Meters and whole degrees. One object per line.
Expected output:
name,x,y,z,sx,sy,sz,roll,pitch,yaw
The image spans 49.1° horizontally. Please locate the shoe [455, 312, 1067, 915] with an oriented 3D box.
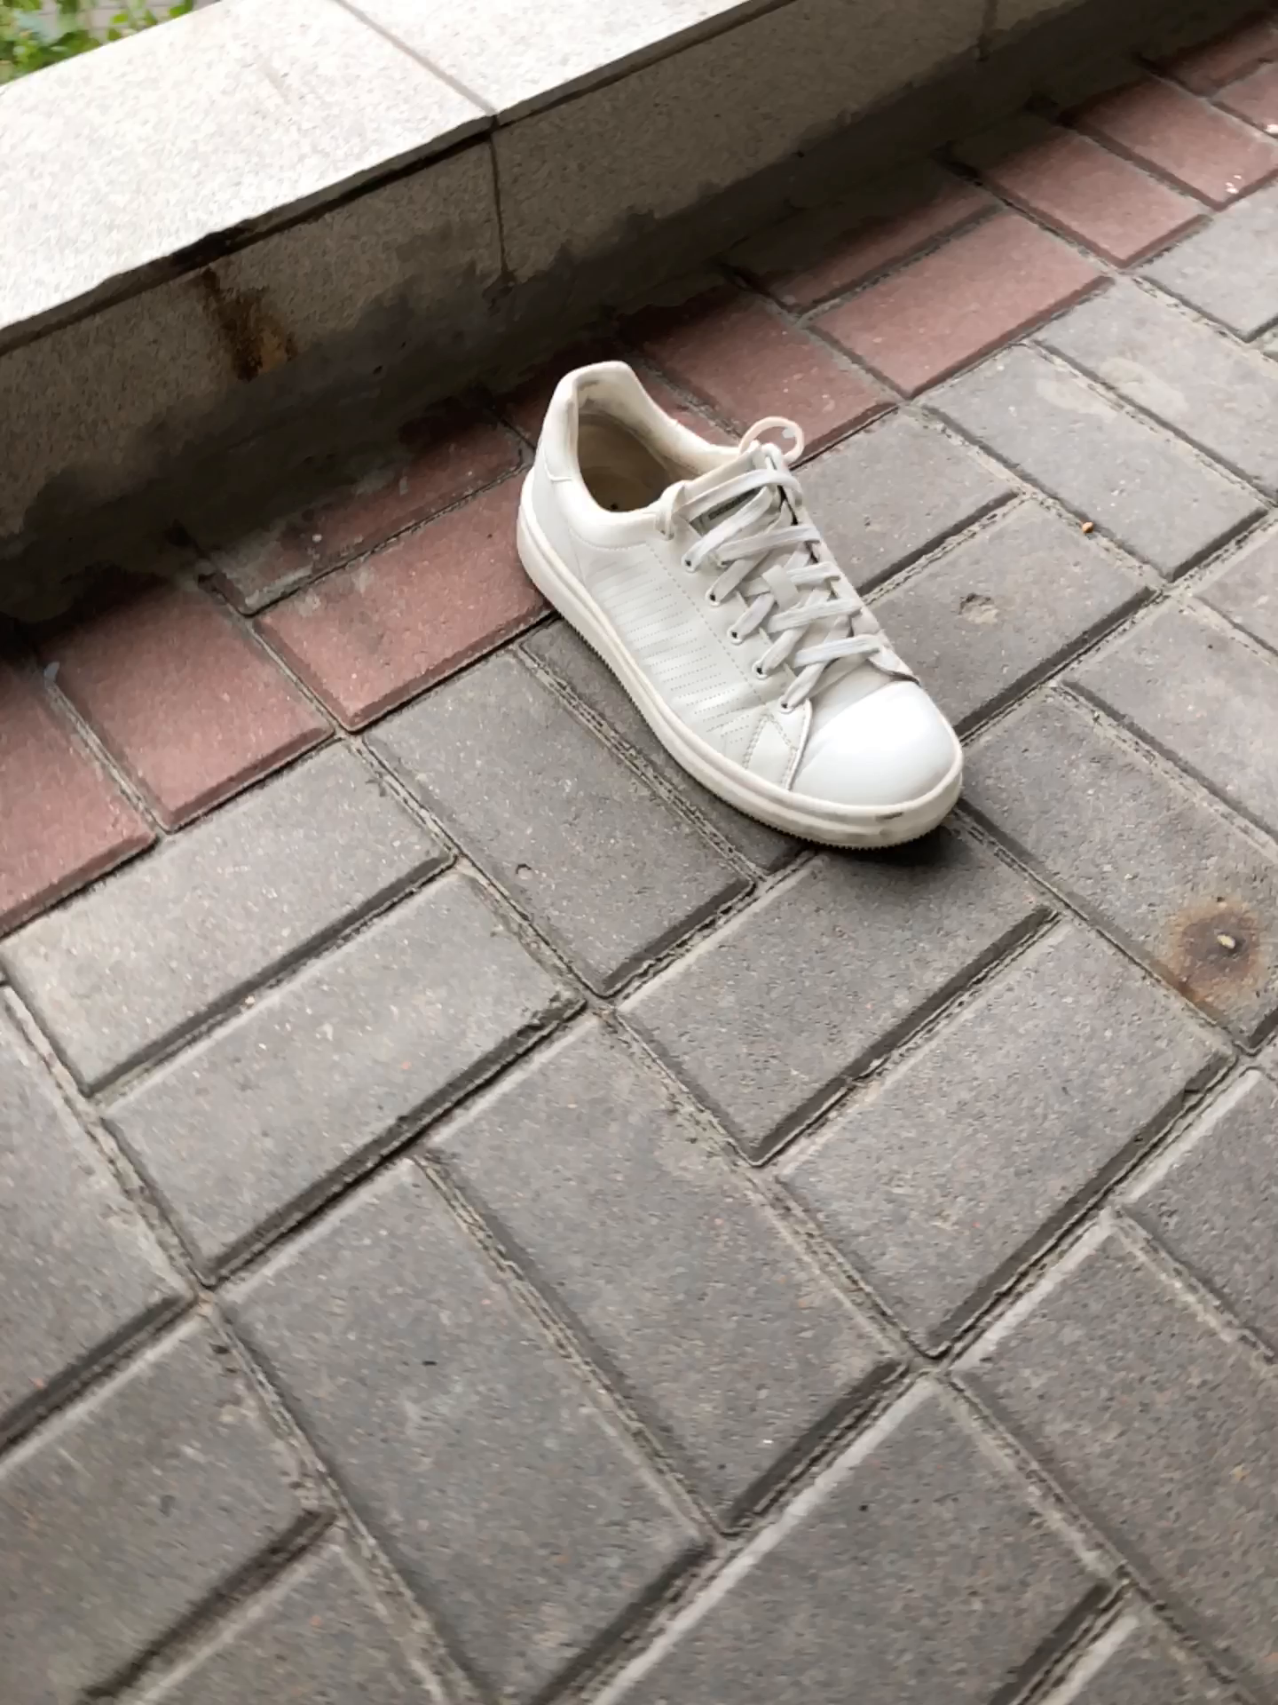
shoe,0.045,-0.126,0.687,0.110,0.119,0.293,-33,61,-23
